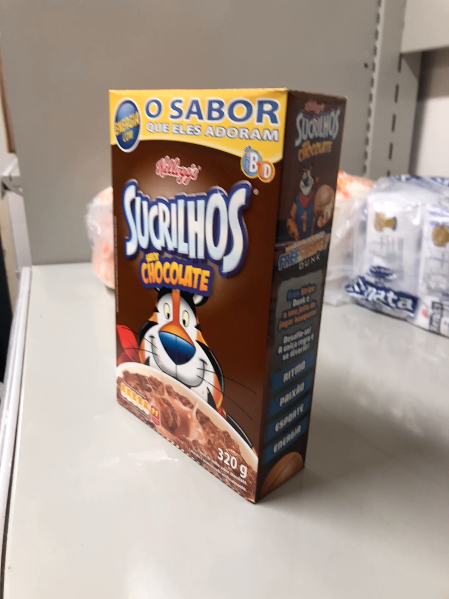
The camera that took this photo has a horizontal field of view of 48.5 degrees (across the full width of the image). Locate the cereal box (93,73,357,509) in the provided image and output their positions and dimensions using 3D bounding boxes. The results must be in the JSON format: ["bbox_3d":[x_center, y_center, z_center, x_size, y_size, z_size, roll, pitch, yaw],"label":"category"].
[{"bbox_3d":[-0.015,-0.018,0.376,0.070,0.268,0.181,-15,26,-42],"label":"cereal box"}]
